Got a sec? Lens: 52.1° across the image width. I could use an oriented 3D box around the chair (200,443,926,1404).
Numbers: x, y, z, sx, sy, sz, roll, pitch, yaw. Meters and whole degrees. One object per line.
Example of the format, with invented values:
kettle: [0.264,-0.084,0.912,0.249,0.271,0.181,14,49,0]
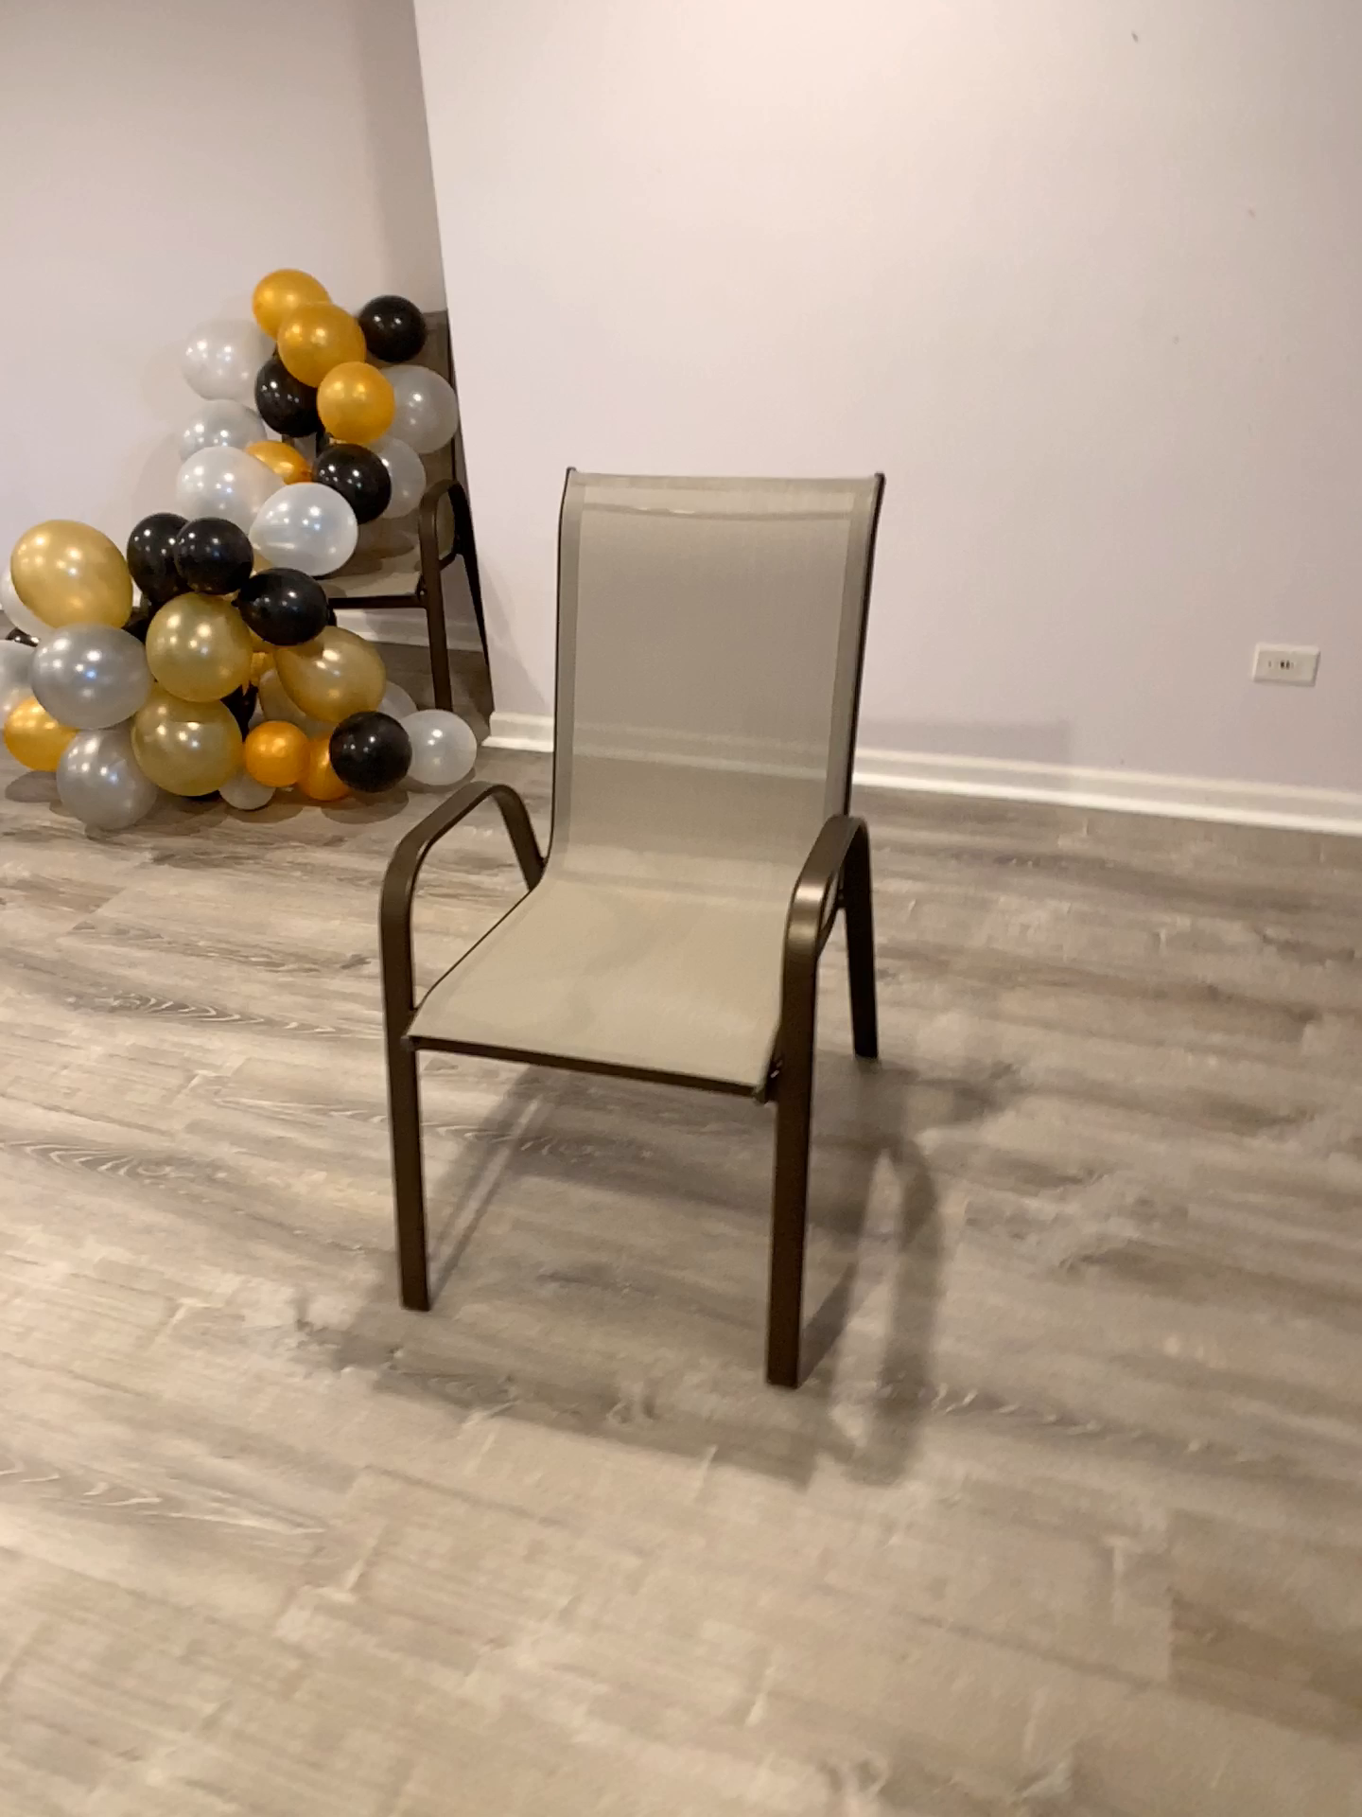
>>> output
chair: [-0.052,-0.037,1.707,0.564,0.874,0.720,6,31,15]
